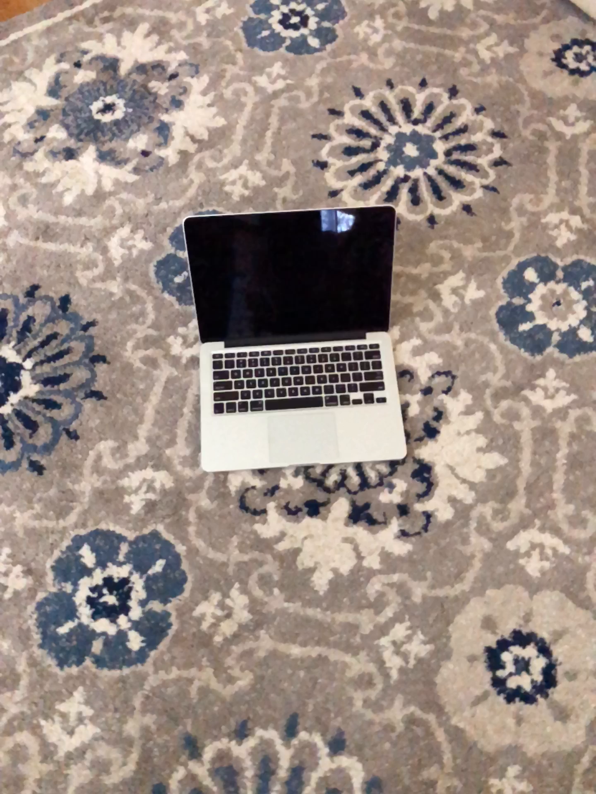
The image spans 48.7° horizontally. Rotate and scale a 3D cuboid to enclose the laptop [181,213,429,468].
[{"bbox_3d":[-0.002,-0.082,0.959,0.300,0.171,0.322,-4,66,-3],"label":"laptop"}]
